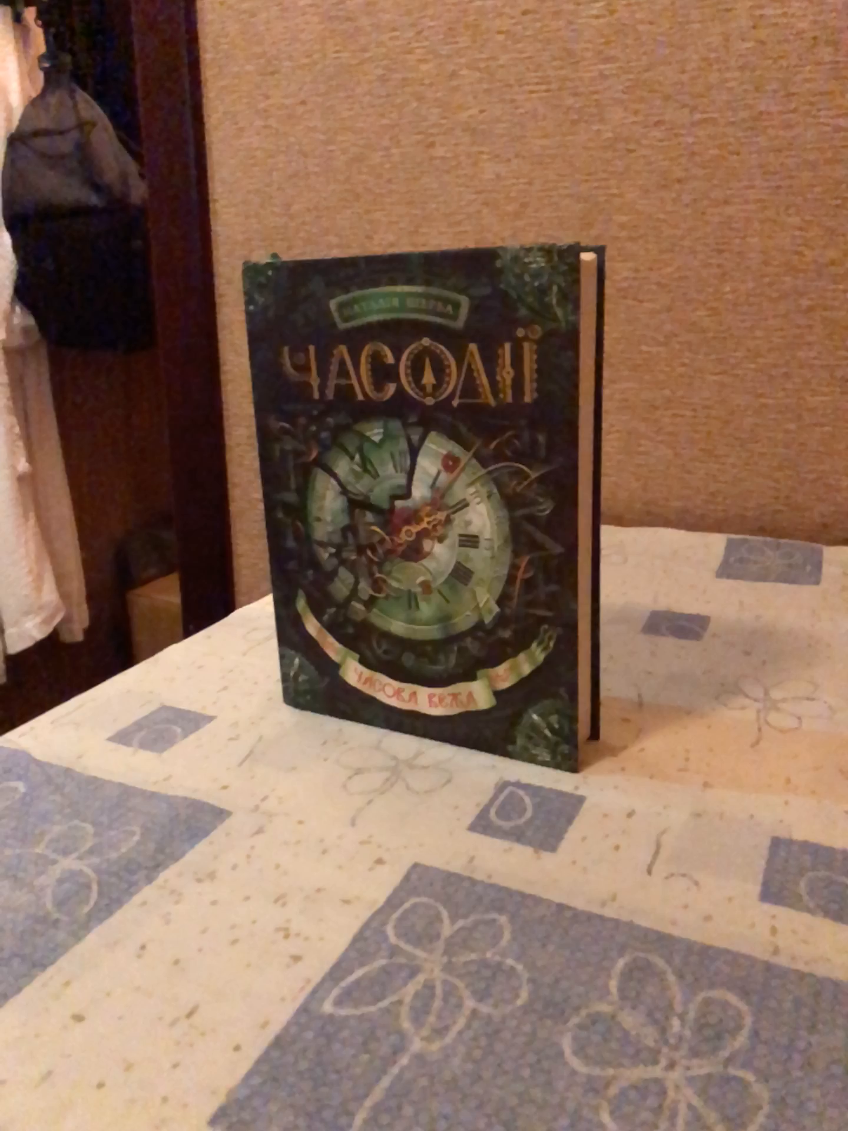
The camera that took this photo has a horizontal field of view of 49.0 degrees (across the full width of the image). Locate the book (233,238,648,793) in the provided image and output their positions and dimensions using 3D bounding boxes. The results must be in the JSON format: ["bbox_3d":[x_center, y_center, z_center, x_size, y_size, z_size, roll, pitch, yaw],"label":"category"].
[{"bbox_3d":[0.001,-0.028,0.412,0.173,0.216,0.040,9,19,29],"label":"book"}]
